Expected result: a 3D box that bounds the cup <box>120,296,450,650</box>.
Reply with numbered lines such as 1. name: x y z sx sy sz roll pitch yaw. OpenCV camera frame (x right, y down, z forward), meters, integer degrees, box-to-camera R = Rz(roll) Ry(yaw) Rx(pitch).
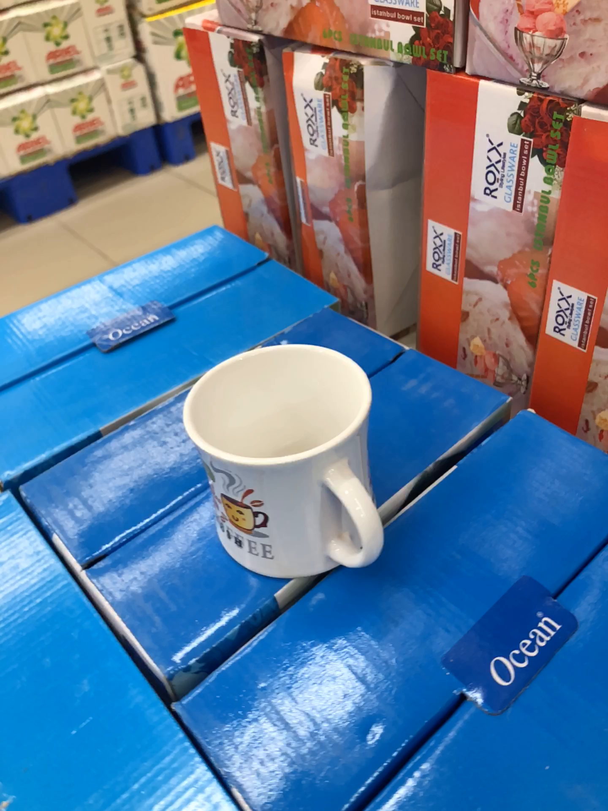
1. cup: -0.007 0.021 0.263 0.070 0.070 0.100 -33 48 -25
